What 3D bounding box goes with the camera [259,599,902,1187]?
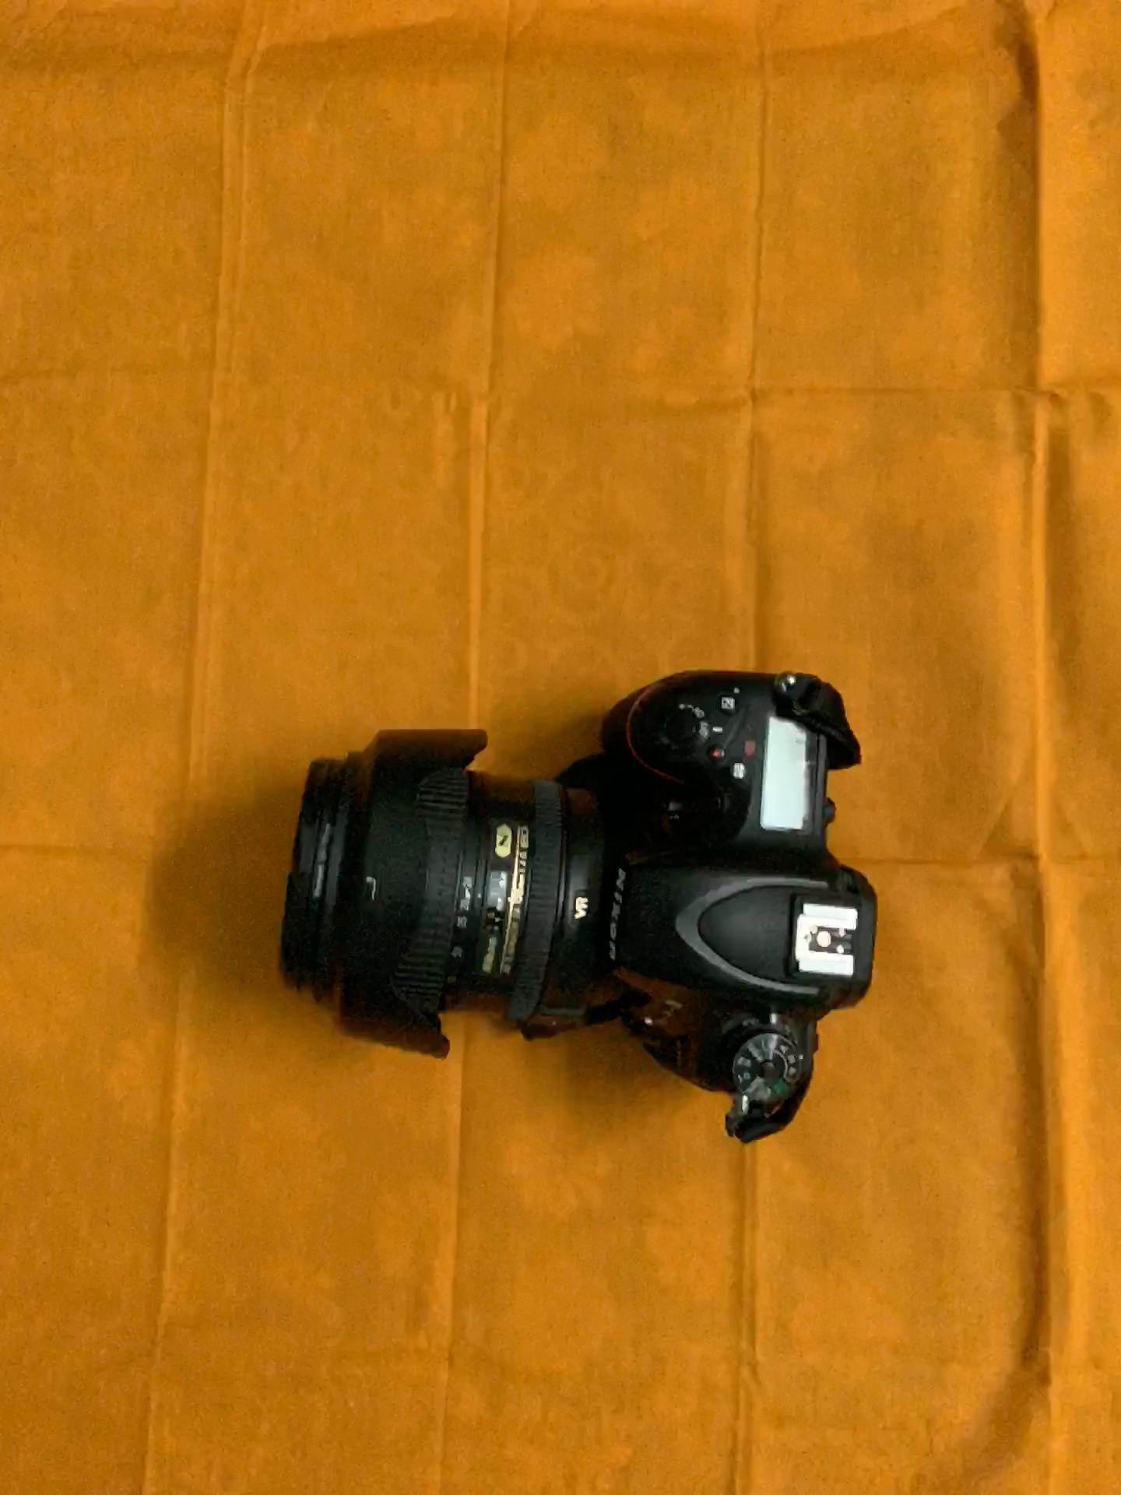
[{"bbox_3d":[0.009,0.044,0.376,0.170,0.110,0.151,4,83,3],"label":"camera"}]
